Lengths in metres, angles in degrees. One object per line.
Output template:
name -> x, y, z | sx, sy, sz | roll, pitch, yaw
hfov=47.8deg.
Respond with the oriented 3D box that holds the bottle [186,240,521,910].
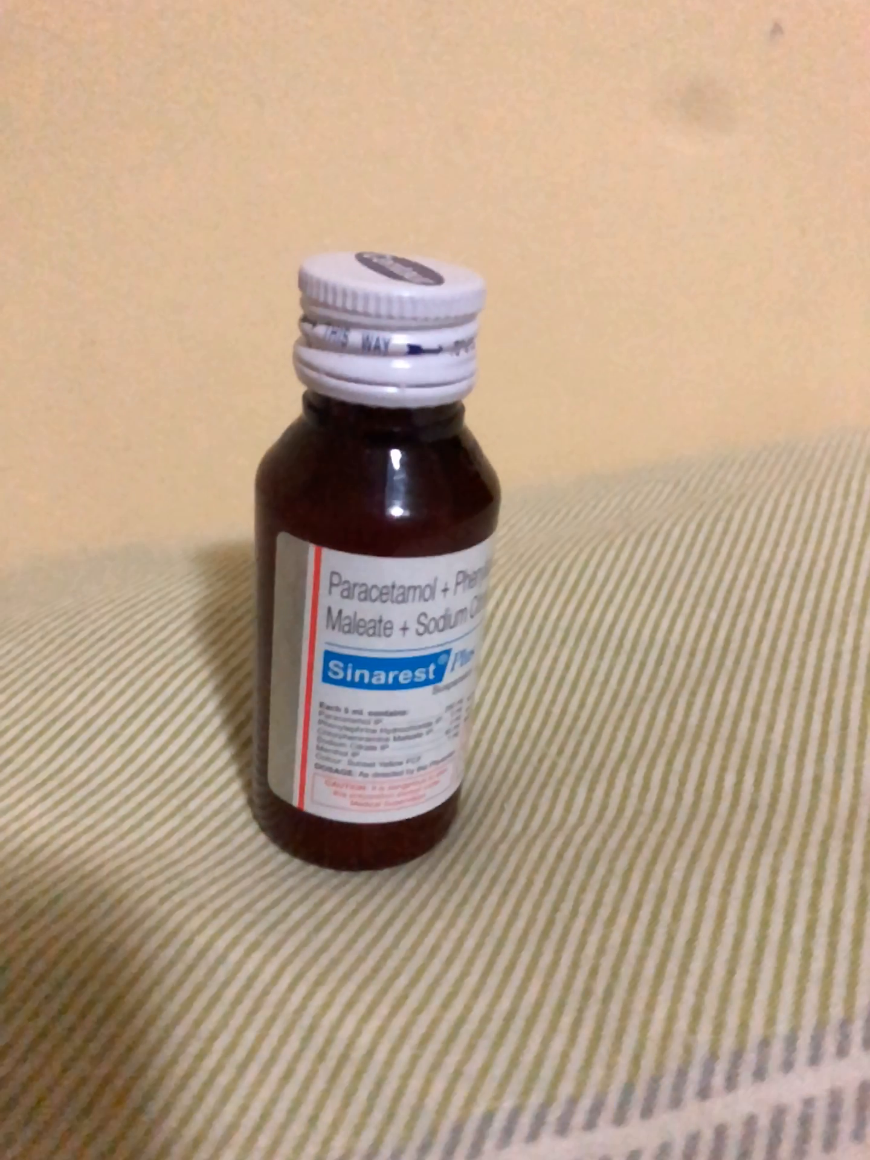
bottle -> -0.015, 0.002, 0.157 | 0.040, 0.100, 0.037 | 3, 30, -2
